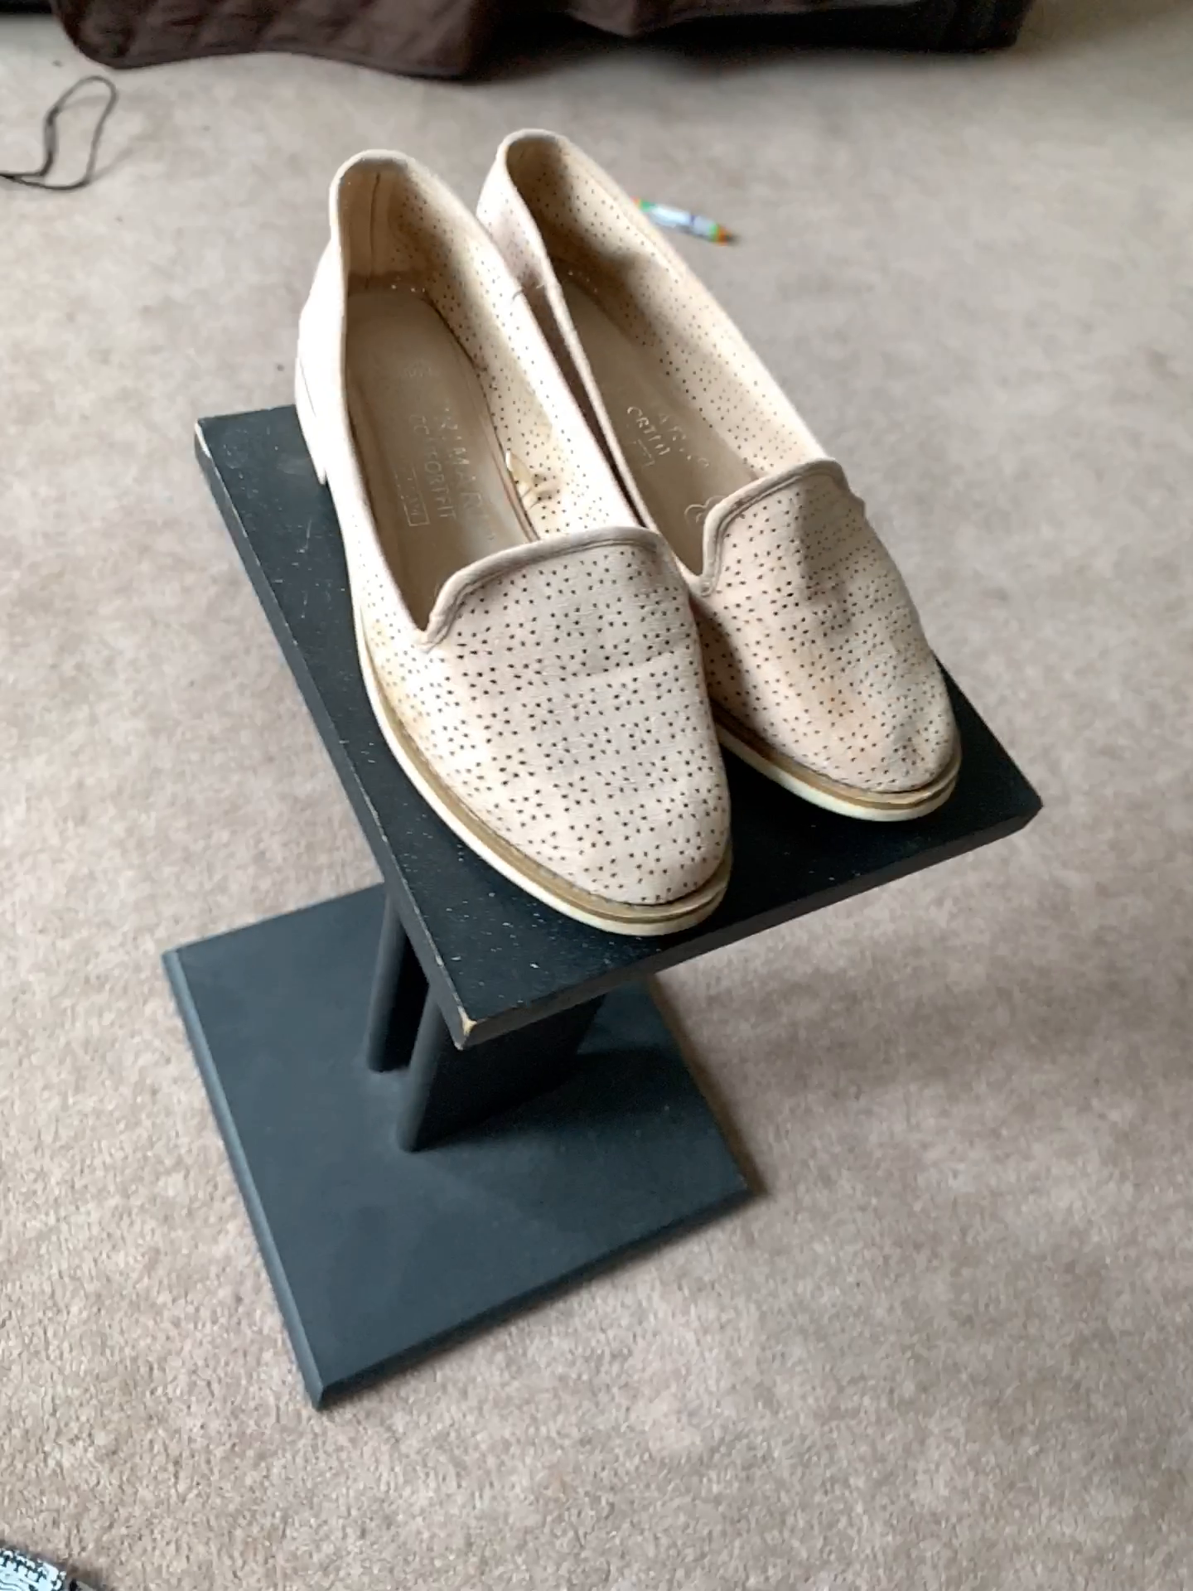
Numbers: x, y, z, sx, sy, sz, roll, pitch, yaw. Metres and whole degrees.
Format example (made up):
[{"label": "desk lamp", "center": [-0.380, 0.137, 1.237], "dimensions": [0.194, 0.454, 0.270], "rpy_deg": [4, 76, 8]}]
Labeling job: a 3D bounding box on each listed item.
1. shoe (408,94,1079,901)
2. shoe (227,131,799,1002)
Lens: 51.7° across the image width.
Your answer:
[{"label": "shoe", "center": [0.036, -0.102, 0.407], "dimensions": [0.080, 0.079, 0.251], "rpy_deg": [-24, 76, -26]}, {"label": "shoe", "center": [-0.039, -0.077, 0.373], "dimensions": [0.080, 0.079, 0.251], "rpy_deg": [-14, 70, -22]}]
